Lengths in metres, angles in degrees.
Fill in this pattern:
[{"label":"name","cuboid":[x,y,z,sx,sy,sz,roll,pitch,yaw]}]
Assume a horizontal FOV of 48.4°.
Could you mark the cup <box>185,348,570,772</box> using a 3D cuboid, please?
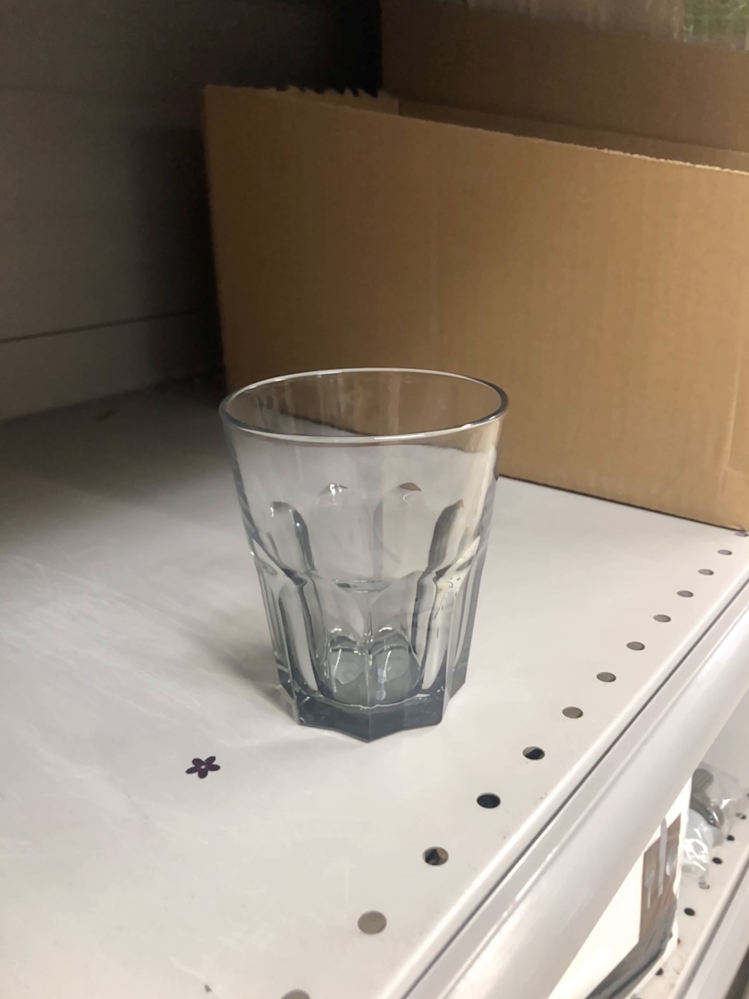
[{"label":"cup","cuboid":[-0.003,0.009,0.257,0.086,0.092,0.082,-1,20,0]}]
